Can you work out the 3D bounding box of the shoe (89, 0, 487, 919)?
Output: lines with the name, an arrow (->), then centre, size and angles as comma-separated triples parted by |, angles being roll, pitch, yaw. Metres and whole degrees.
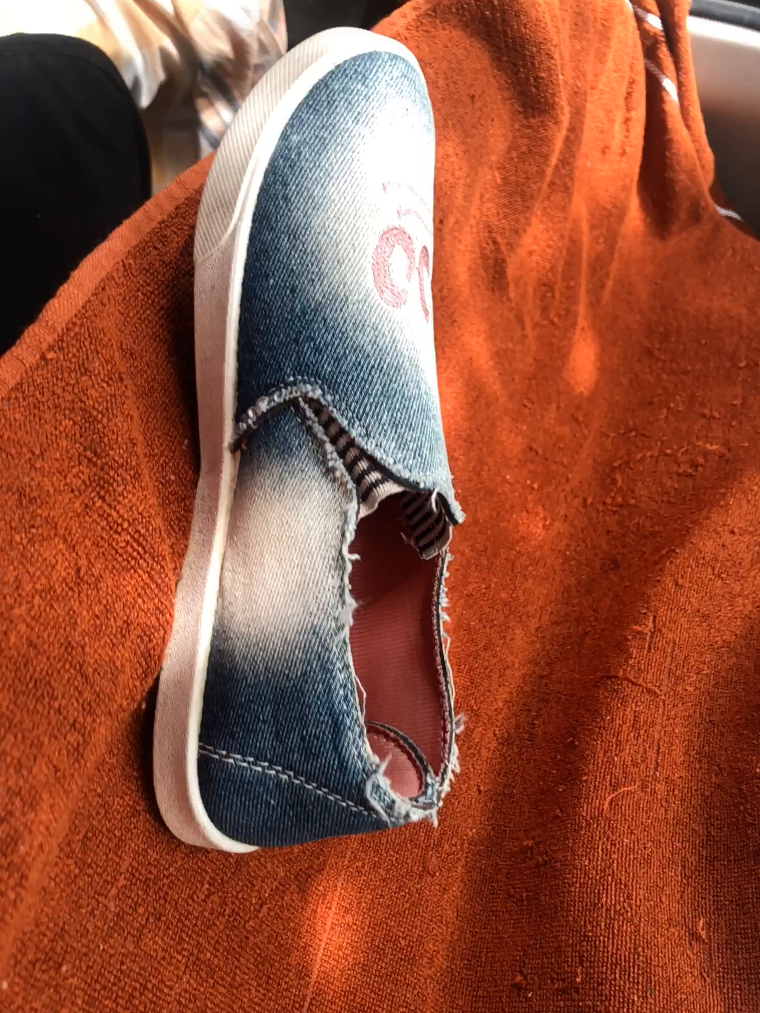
shoe -> -0.021, -0.015, 0.271 | 0.091, 0.079, 0.240 | 16, 74, -61
